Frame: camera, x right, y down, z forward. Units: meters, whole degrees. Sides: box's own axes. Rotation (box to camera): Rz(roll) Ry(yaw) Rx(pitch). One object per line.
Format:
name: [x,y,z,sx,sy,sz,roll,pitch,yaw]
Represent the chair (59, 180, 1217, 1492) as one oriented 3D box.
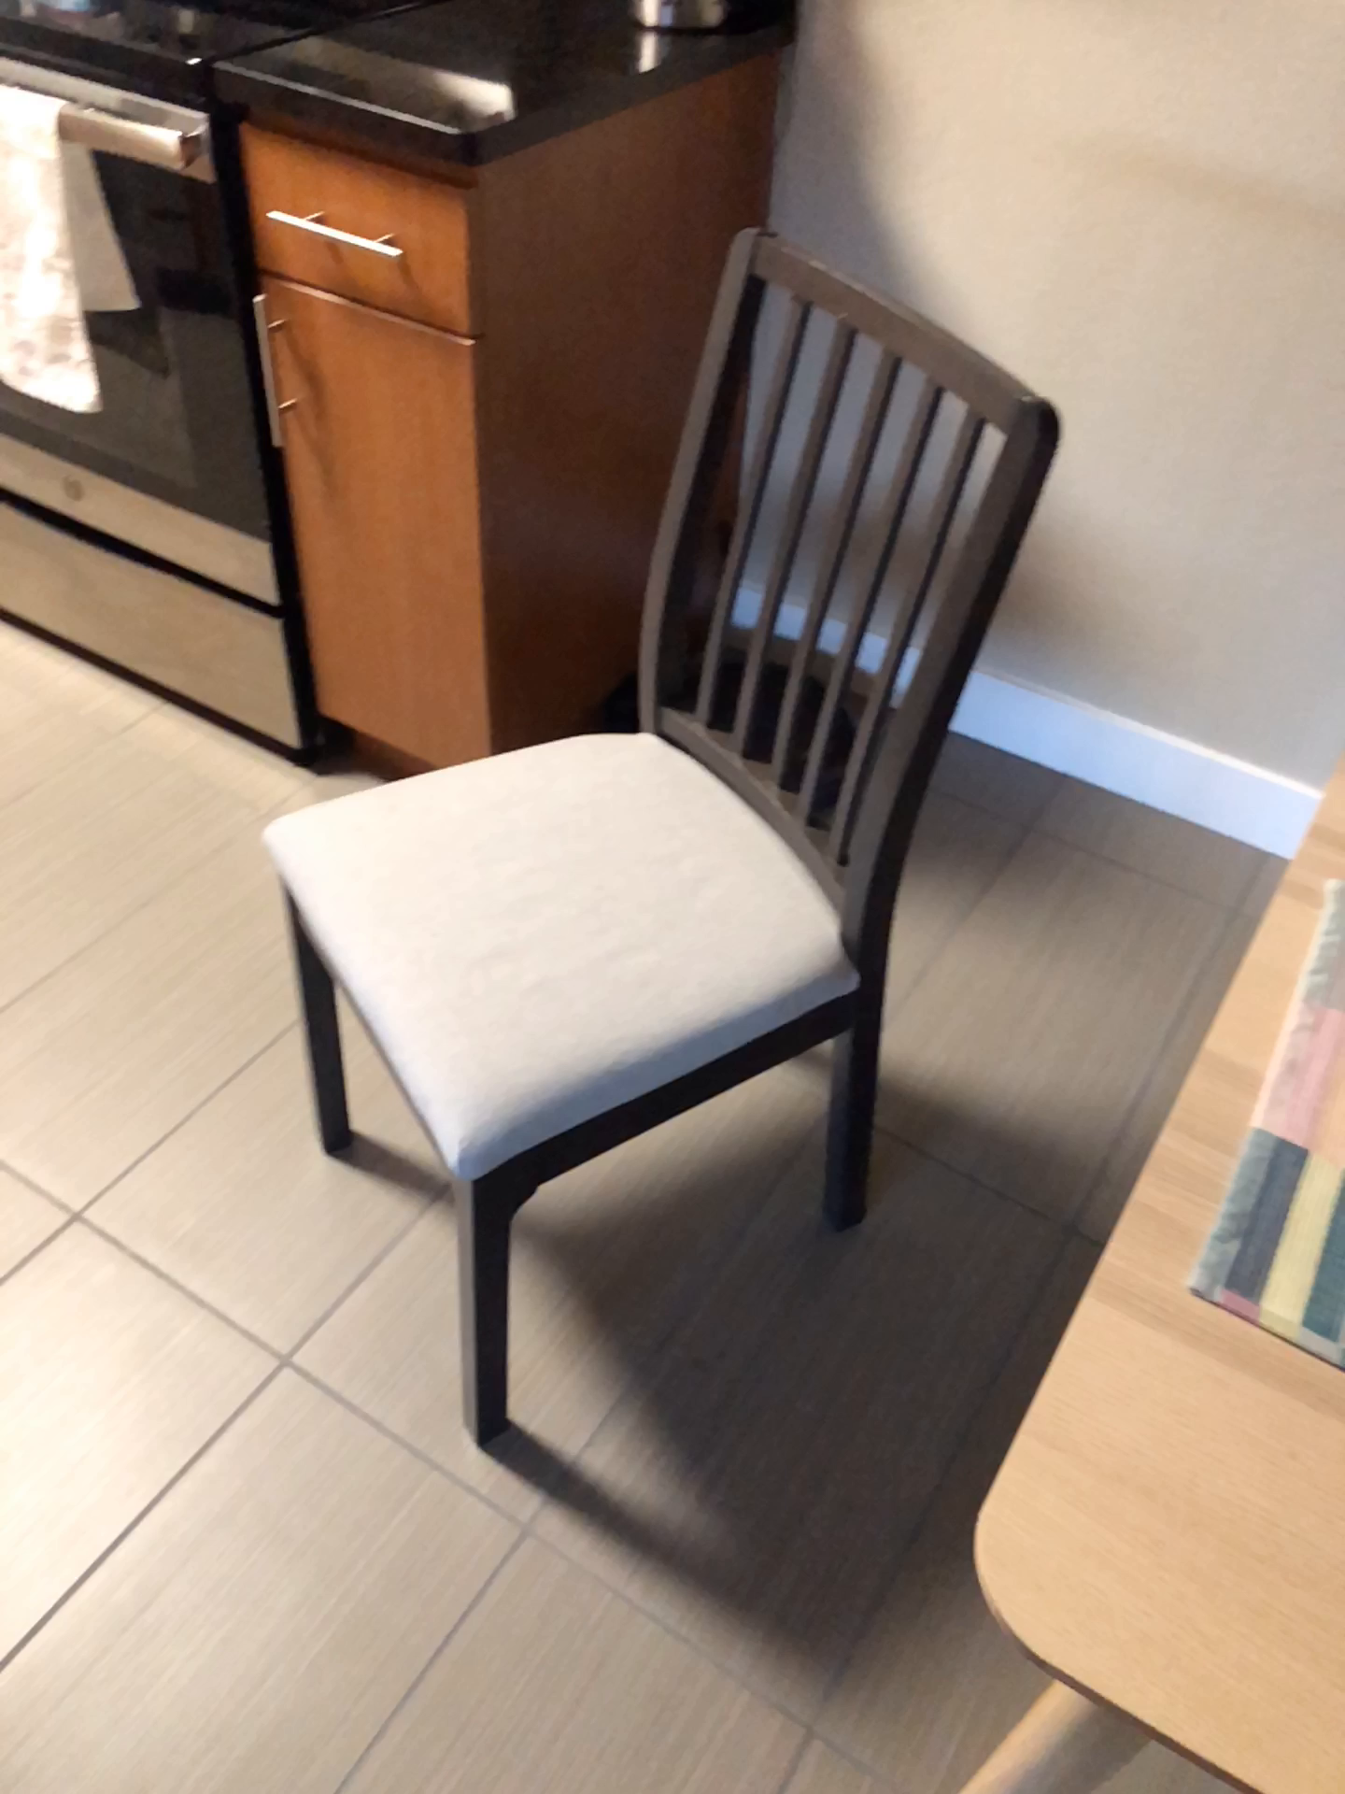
chair: [-0.071,-0.062,1.306,0.591,0.846,0.582,-20,47,-24]
